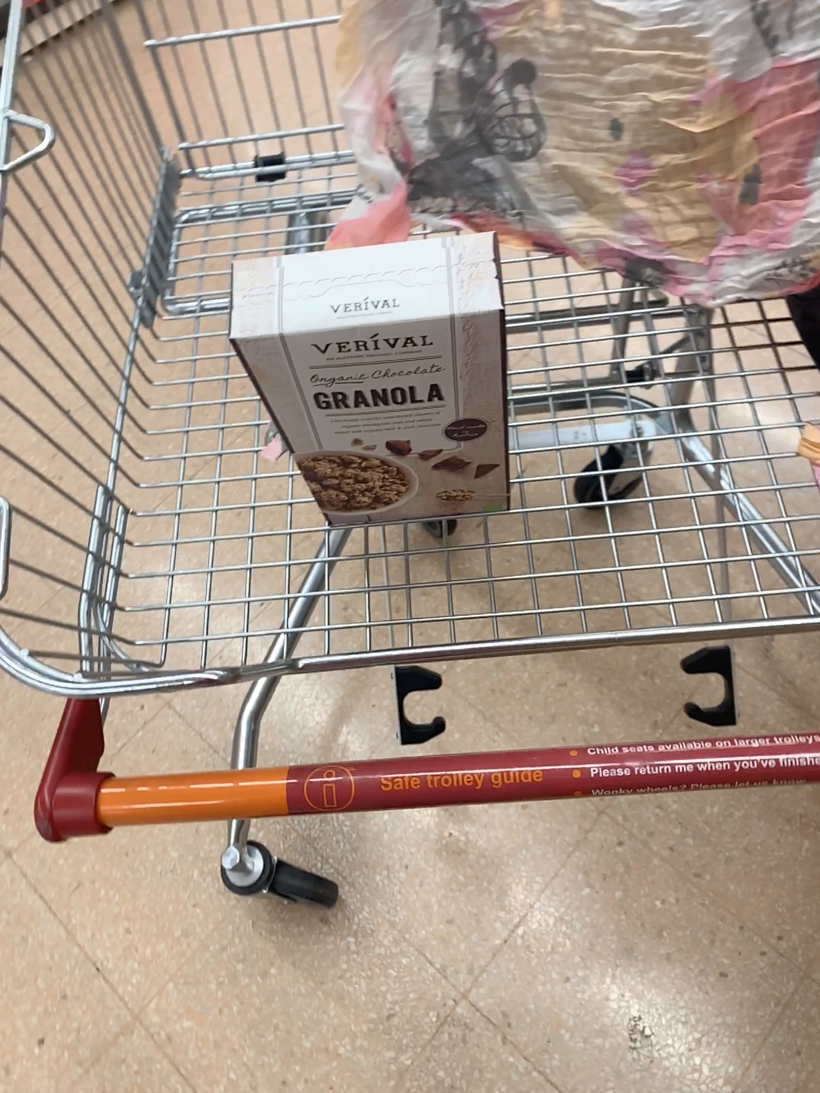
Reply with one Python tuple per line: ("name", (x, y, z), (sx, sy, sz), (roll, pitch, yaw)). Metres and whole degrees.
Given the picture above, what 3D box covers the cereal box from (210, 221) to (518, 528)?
("cereal box", (-0.013, -0.083, 0.490), (0.140, 0.219, 0.050), (-4, 67, 4))
